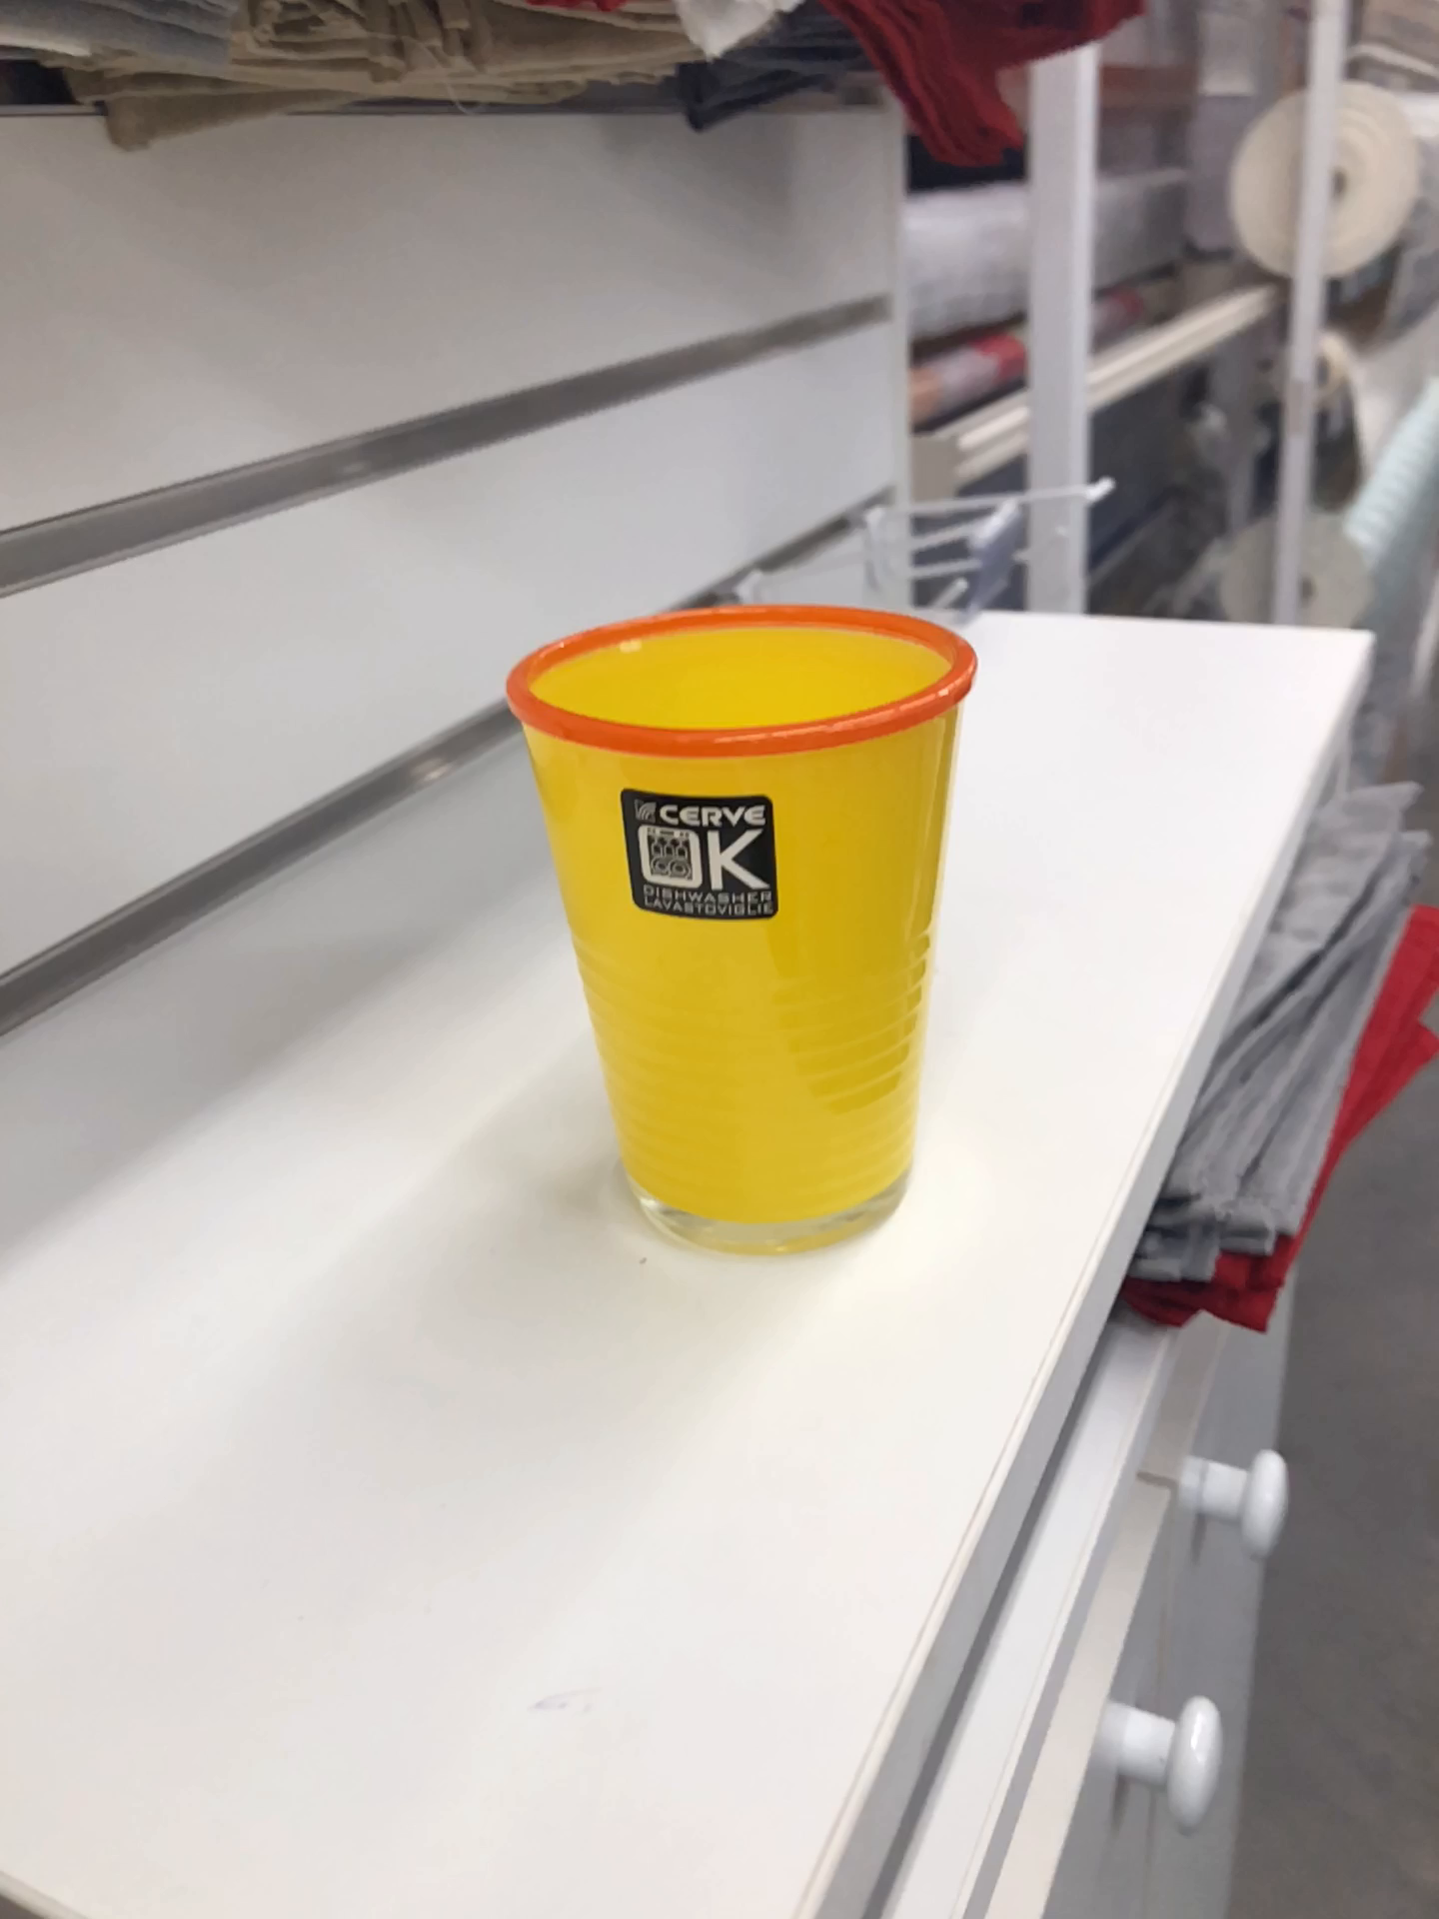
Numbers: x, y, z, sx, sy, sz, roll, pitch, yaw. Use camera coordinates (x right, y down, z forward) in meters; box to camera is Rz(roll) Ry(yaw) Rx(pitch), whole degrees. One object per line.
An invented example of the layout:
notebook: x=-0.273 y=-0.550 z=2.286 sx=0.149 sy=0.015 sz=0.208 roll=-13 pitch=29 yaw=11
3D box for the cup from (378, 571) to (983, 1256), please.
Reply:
cup: x=0.002 y=-0.011 z=0.288 sx=0.088 sy=0.094 sz=0.085 roll=-3 pitch=26 yaw=2
